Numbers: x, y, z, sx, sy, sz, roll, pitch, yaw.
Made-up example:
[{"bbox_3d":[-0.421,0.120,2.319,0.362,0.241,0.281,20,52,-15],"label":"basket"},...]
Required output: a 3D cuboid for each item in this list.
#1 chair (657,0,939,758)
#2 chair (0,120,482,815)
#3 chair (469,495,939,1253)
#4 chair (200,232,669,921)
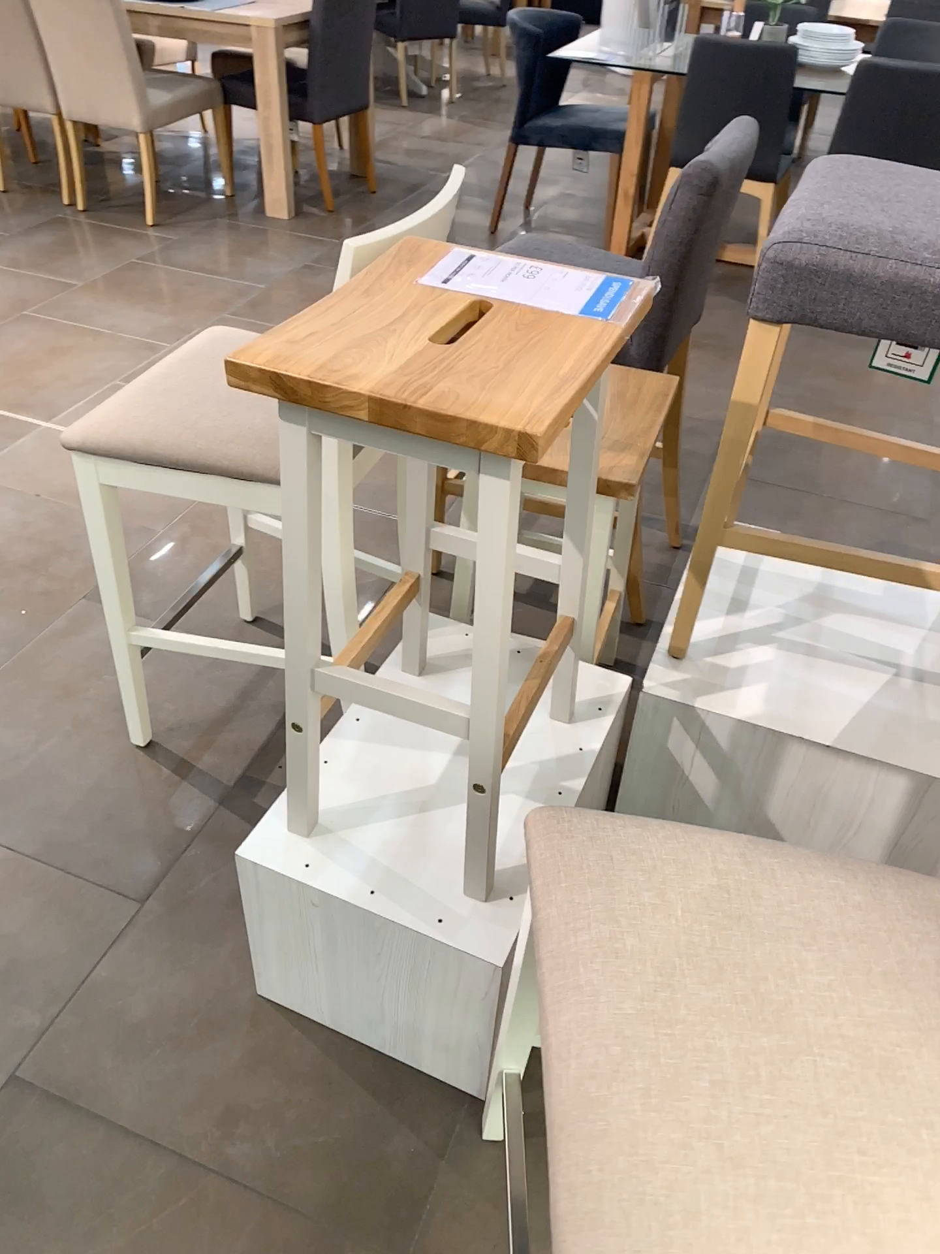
[{"bbox_3d":[0.652,-0.406,1.293,0.532,0.984,0.471,17,40,16],"label":"chair"},{"bbox_3d":[-0.307,-0.231,1.574,0.501,0.954,0.441,12,40,11],"label":"chair"},{"bbox_3d":[0.279,0.416,0.817,0.511,0.944,0.421,2,39,-2],"label":"chair"},{"bbox_3d":[-0.025,-0.057,1.134,0.321,0.637,0.400,17,41,16],"label":"chair"}]
